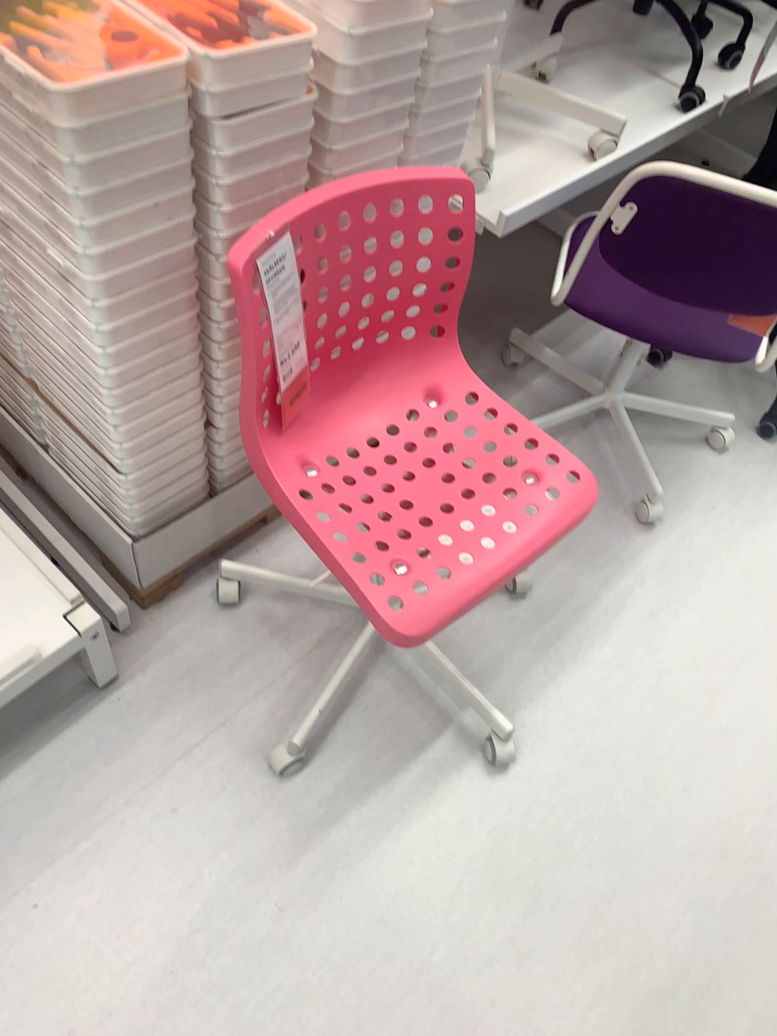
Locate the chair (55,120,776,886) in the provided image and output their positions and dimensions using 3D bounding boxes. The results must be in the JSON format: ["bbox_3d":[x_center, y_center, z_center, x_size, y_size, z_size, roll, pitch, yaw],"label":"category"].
[{"bbox_3d":[0.048,-0.031,1.215,0.671,0.688,0.691,-35,66,-30],"label":"chair"}]
